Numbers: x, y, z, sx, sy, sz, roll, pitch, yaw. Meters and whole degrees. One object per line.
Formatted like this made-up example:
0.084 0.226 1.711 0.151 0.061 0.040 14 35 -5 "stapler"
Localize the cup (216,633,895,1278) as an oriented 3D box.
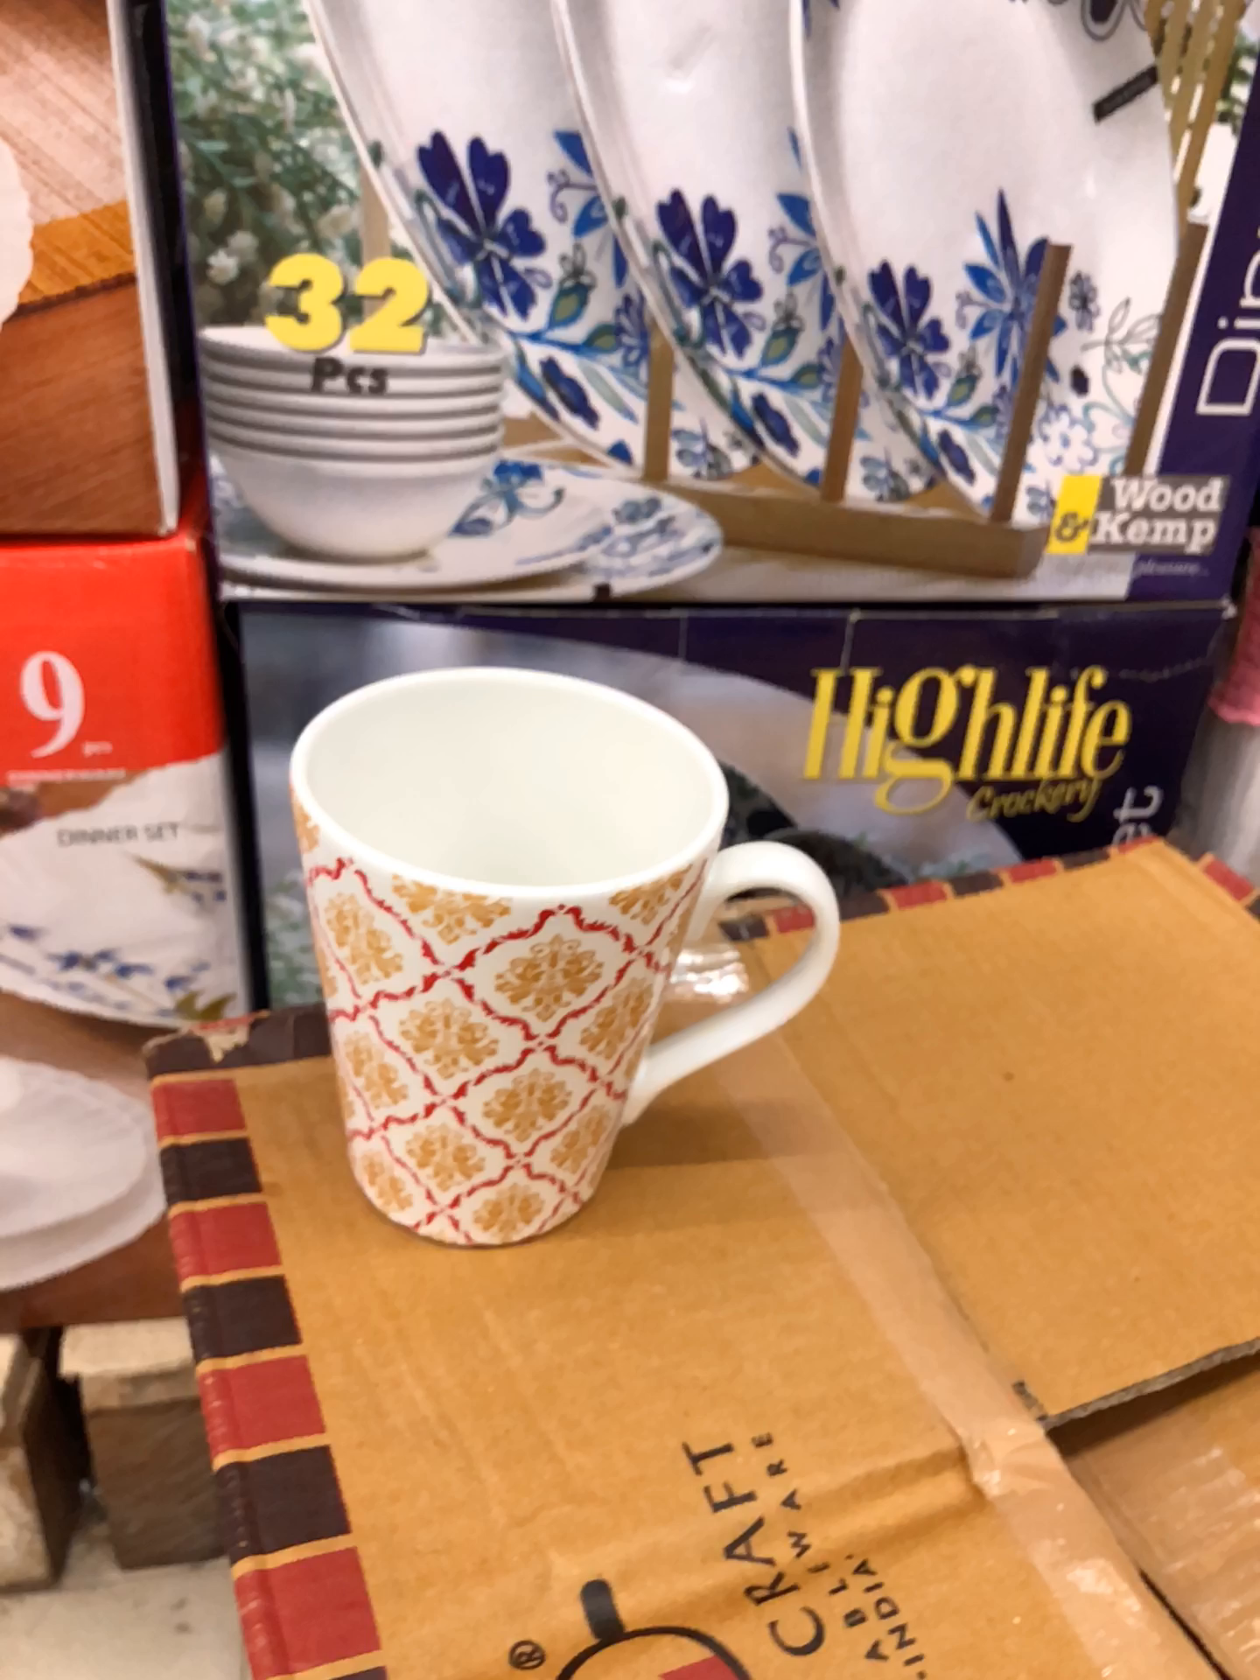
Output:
-0.014 0.020 0.291 0.110 0.089 0.091 3 31 -1 "cup"
